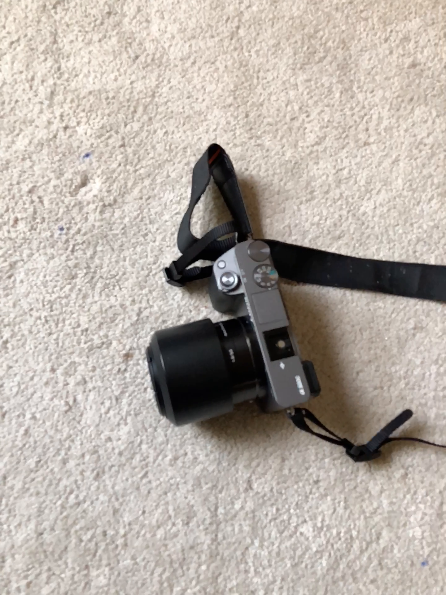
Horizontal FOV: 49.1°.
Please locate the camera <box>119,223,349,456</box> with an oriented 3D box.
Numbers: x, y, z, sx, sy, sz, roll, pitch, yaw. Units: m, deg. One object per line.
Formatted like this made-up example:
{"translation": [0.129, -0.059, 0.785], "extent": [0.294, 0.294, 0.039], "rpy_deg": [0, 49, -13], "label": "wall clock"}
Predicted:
{"translation": [0.002, 0.033, 0.356], "extent": [0.120, 0.080, 0.130], "rpy_deg": [-13, 74, -10], "label": "camera"}
